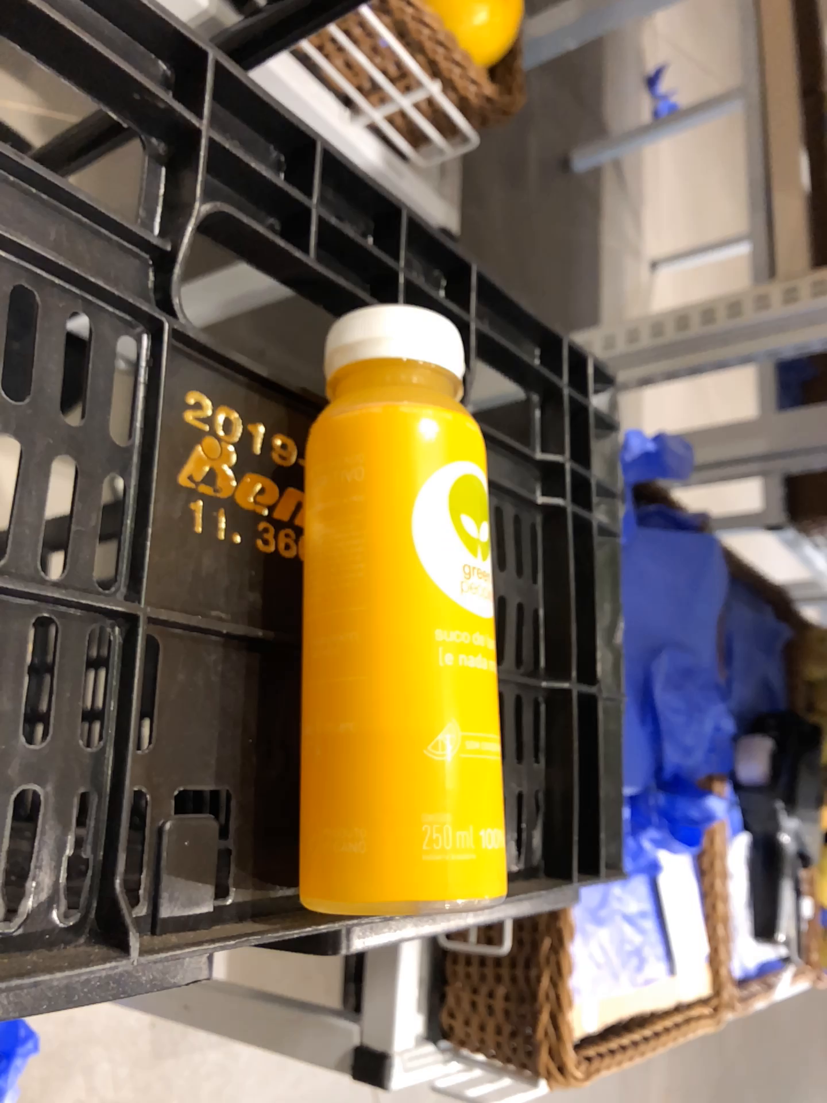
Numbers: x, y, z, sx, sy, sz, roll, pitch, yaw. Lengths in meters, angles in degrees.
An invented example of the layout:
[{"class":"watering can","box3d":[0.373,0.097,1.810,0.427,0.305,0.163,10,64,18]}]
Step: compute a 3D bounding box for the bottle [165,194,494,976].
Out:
[{"class":"bottle","box3d":[-0.022,0.008,0.245,0.060,0.050,0.180,18,64,-51]}]
